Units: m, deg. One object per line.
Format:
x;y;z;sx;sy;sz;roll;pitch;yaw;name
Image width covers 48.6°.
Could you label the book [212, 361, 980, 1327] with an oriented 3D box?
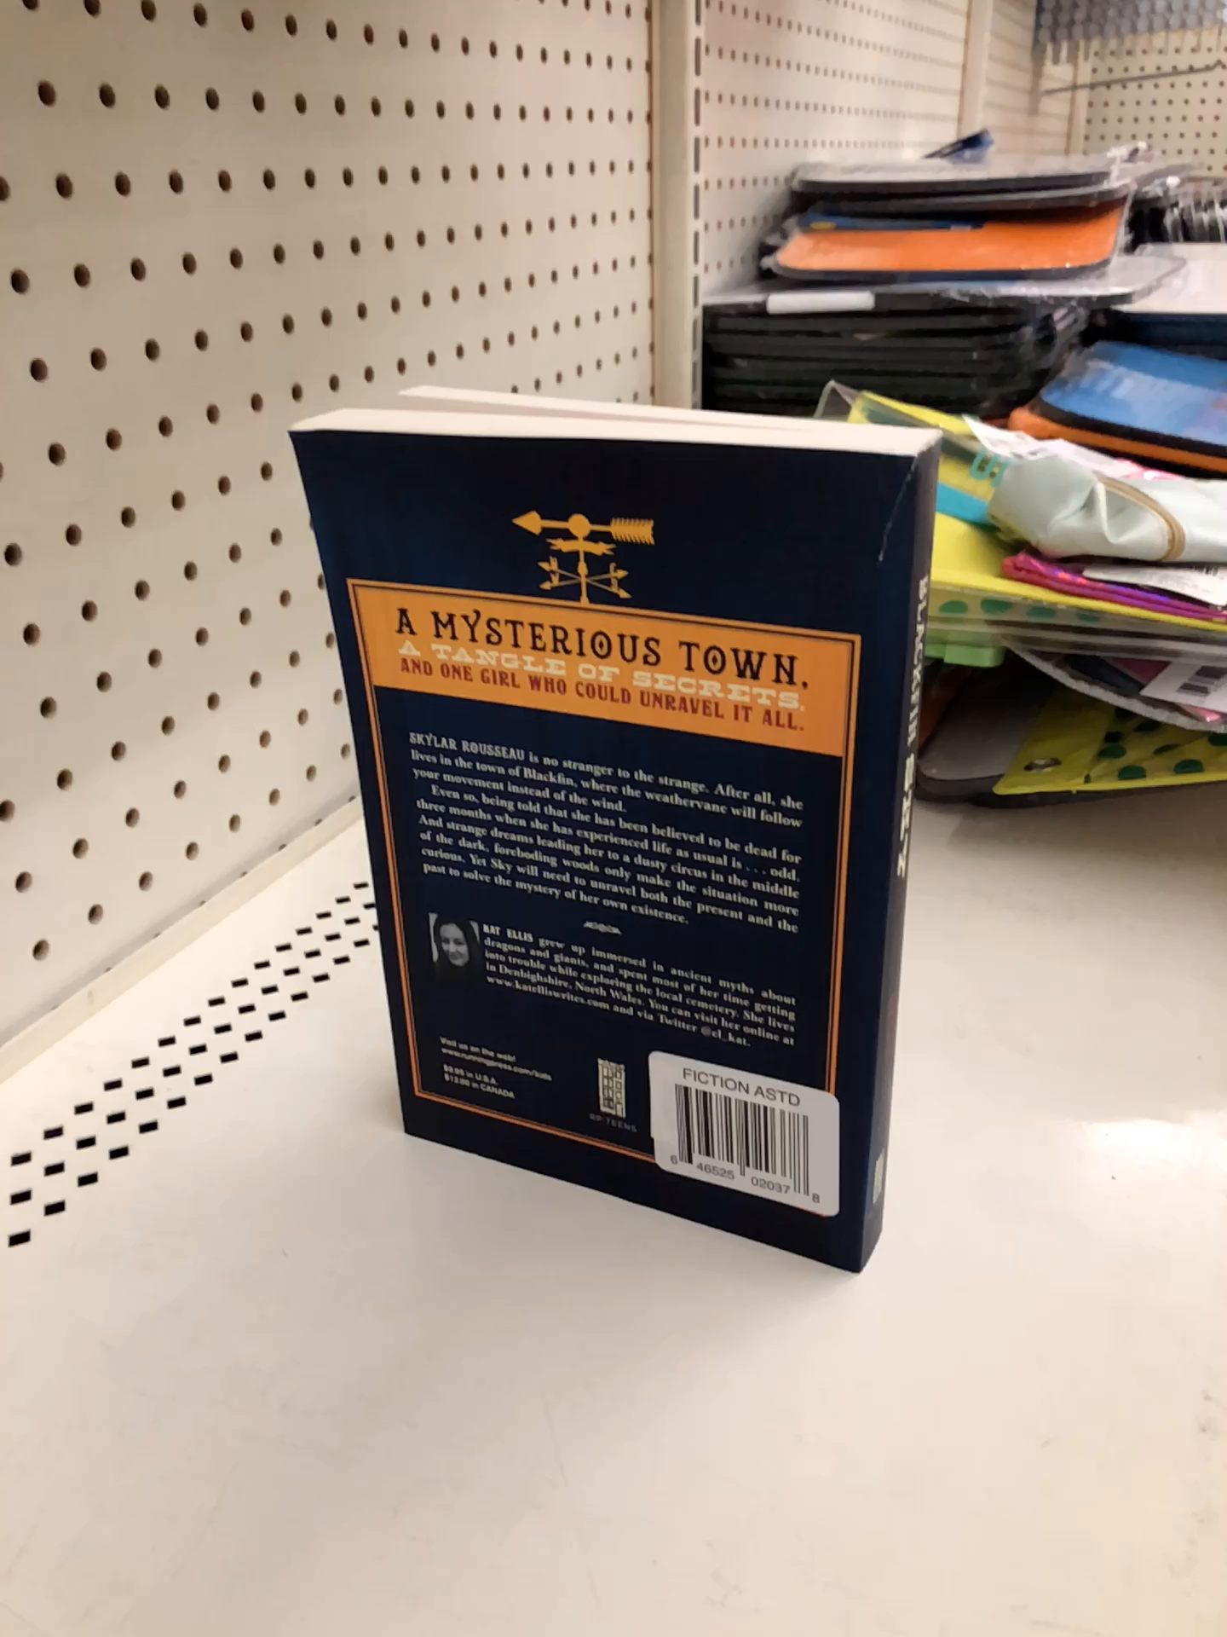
-0.004;0.004;0.331;0.150;0.205;0.059;12;30;23;book
